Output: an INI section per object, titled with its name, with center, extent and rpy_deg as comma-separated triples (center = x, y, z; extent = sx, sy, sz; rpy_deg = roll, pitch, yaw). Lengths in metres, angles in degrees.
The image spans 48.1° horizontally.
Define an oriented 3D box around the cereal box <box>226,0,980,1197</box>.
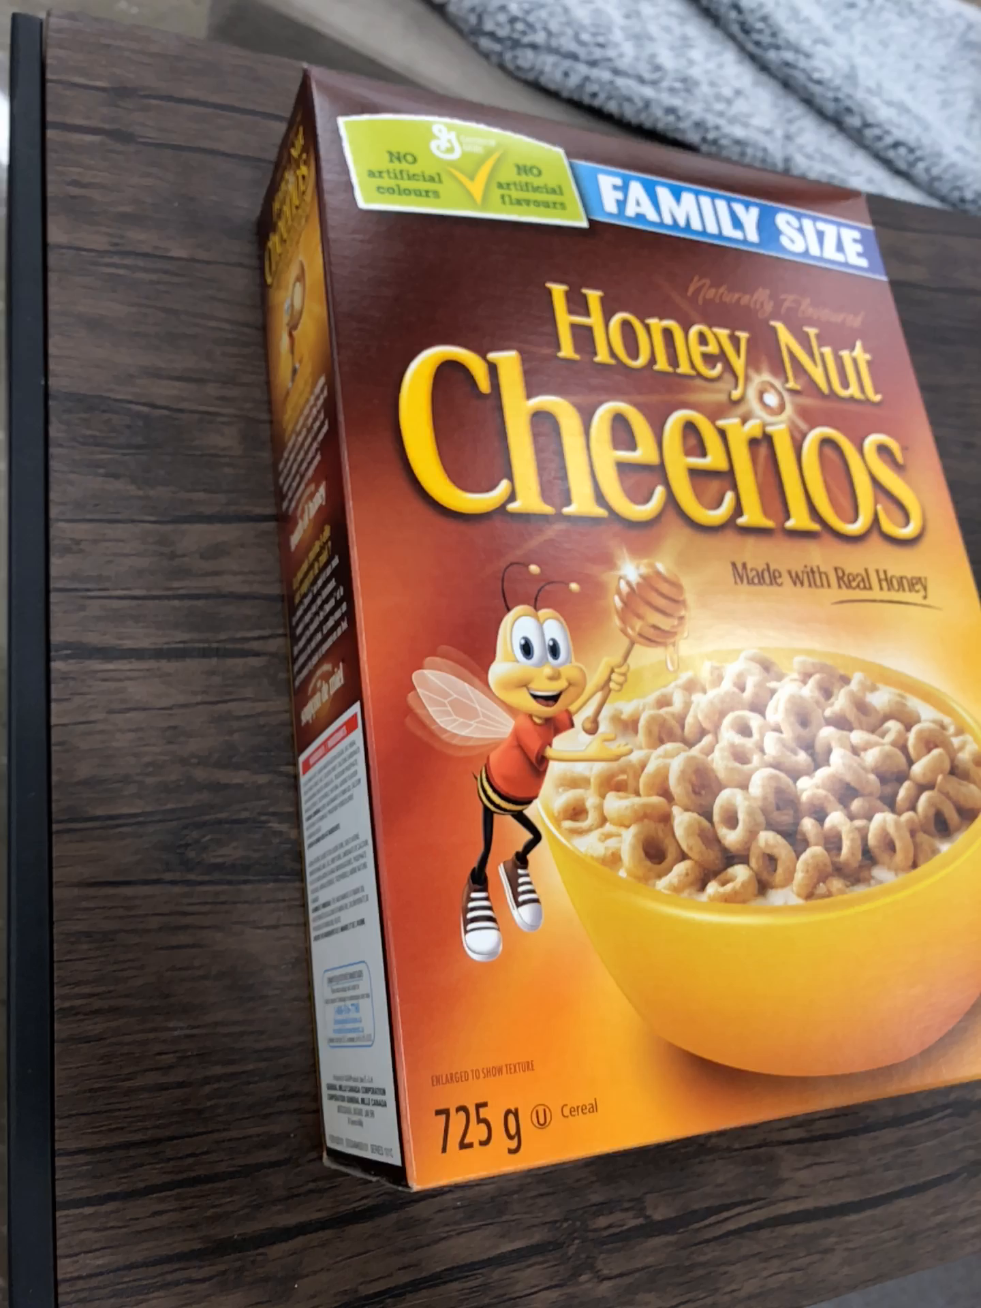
[cereal box]
center = 0.048, -0.041, 0.394
extent = 0.251, 0.080, 0.380
rpy_deg = 0, 71, -22
